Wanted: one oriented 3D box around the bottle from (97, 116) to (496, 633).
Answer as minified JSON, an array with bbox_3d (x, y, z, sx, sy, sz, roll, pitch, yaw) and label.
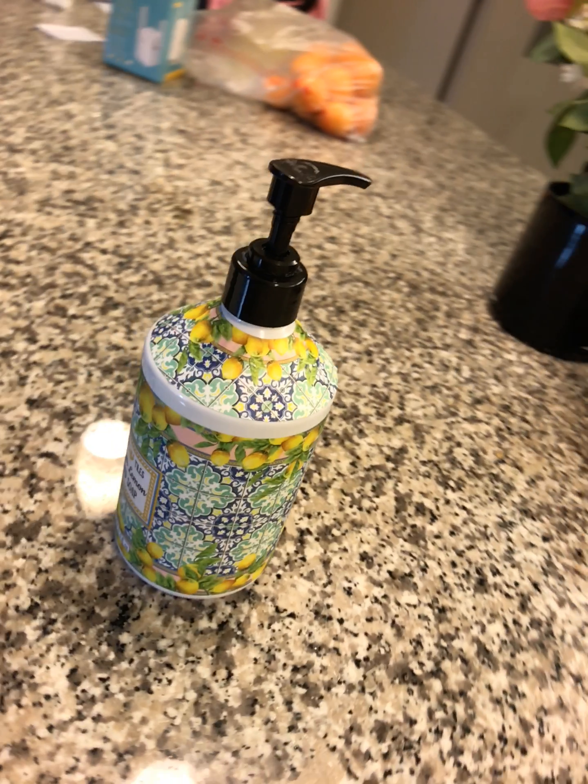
[{"bbox_3d":[-0.019,0.001,0.277,0.100,0.189,0.090,-1,40,-26],"label":"bottle"}]
